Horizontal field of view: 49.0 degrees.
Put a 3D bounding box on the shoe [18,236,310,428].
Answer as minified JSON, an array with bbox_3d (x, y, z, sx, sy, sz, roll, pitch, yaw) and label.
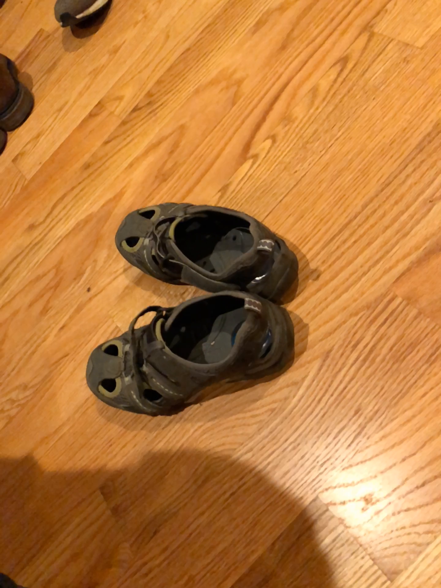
[{"bbox_3d":[-0.056,0.050,0.468,0.245,0.113,0.100,-17,61,22],"label":"shoe"}]

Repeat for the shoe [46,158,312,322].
[{"bbox_3d":[-0.048,-0.063,0.518,0.246,0.113,0.100,14,76,33],"label":"shoe"}]
